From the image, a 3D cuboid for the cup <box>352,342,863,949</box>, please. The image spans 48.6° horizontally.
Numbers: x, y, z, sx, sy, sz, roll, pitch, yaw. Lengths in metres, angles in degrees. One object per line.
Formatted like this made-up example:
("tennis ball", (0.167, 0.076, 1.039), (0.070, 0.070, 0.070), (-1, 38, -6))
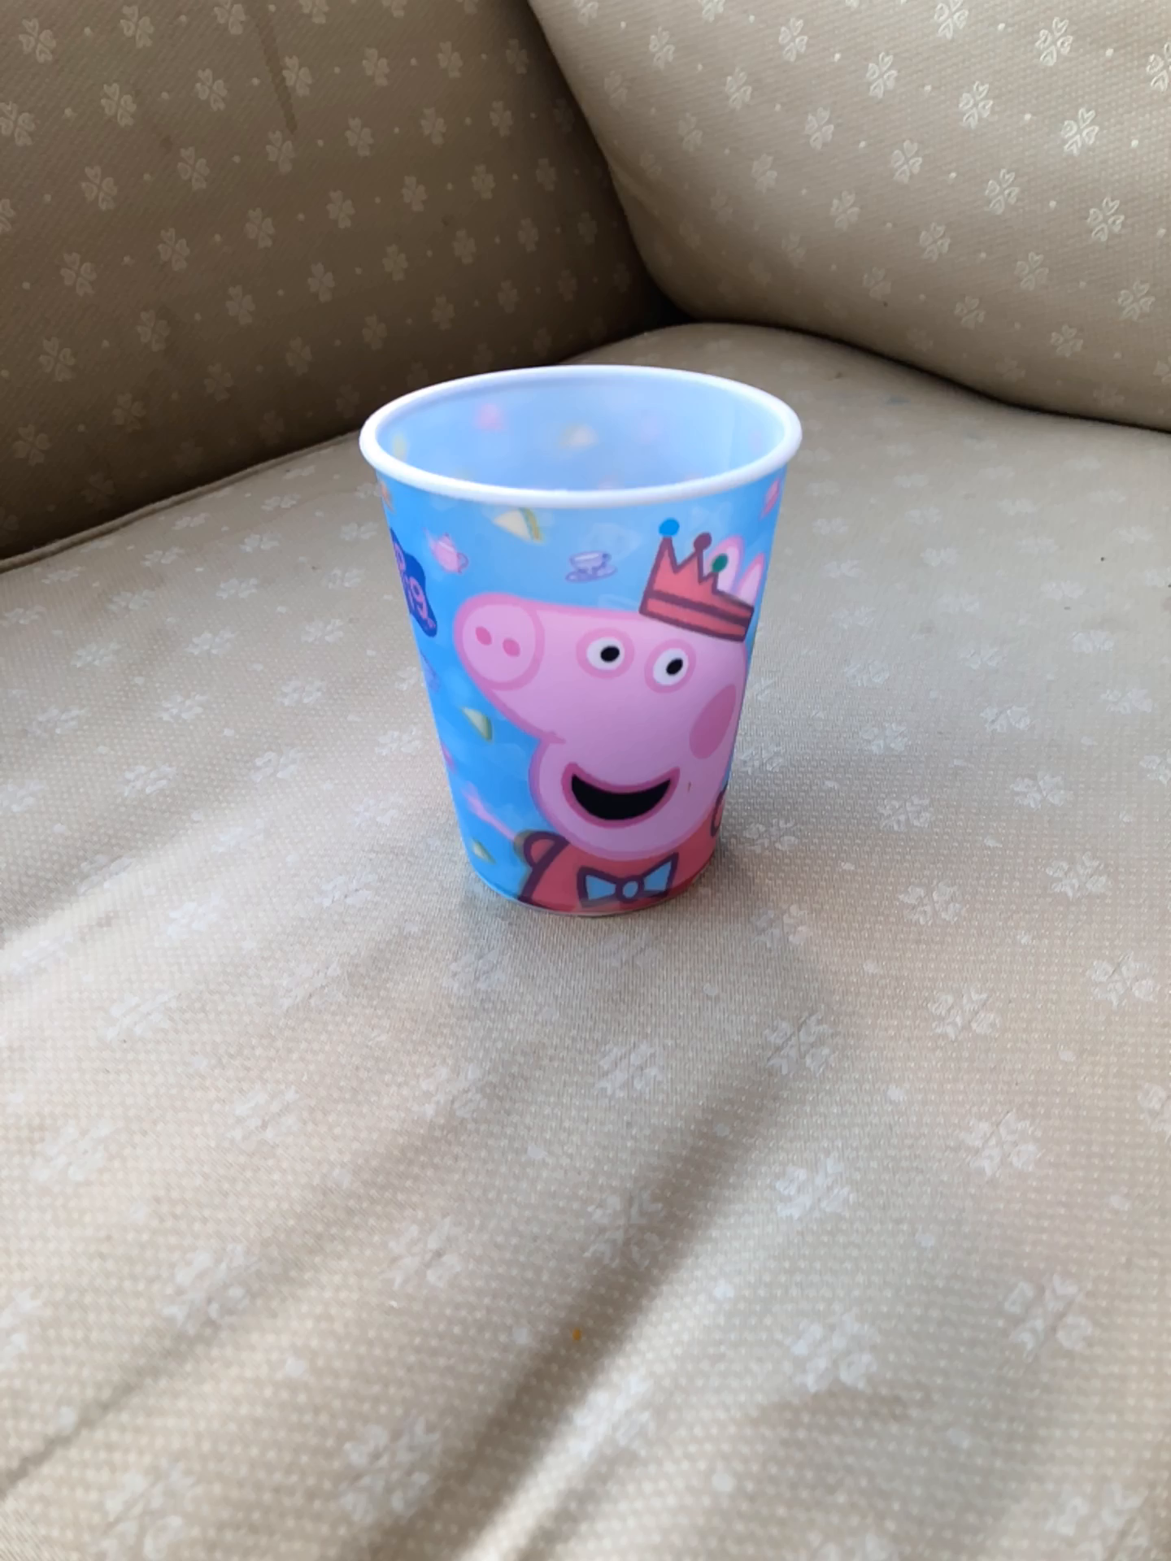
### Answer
("cup", (0.001, -0.033, 0.294), (0.091, 0.100, 0.087), (-1, 36, 1))
